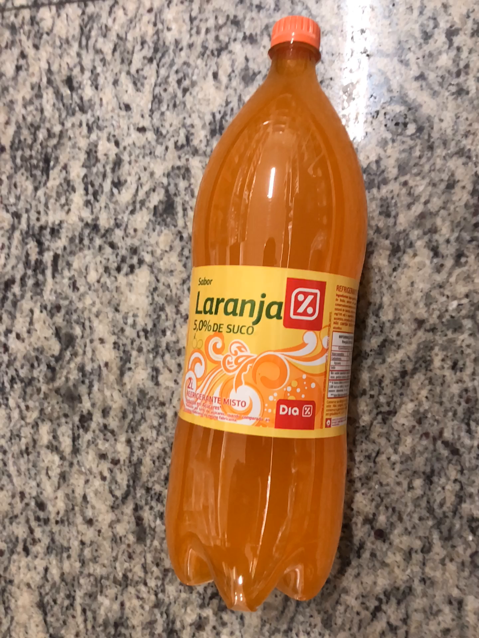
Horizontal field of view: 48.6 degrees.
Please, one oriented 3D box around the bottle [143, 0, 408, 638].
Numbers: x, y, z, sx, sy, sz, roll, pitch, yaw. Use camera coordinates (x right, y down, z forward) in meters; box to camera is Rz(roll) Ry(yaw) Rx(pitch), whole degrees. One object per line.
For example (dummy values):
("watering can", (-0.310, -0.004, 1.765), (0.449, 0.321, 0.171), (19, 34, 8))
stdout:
("bottle", (0.026, -0.016, 0.318), (0.120, 0.070, 0.350), (3, 87, 15))
